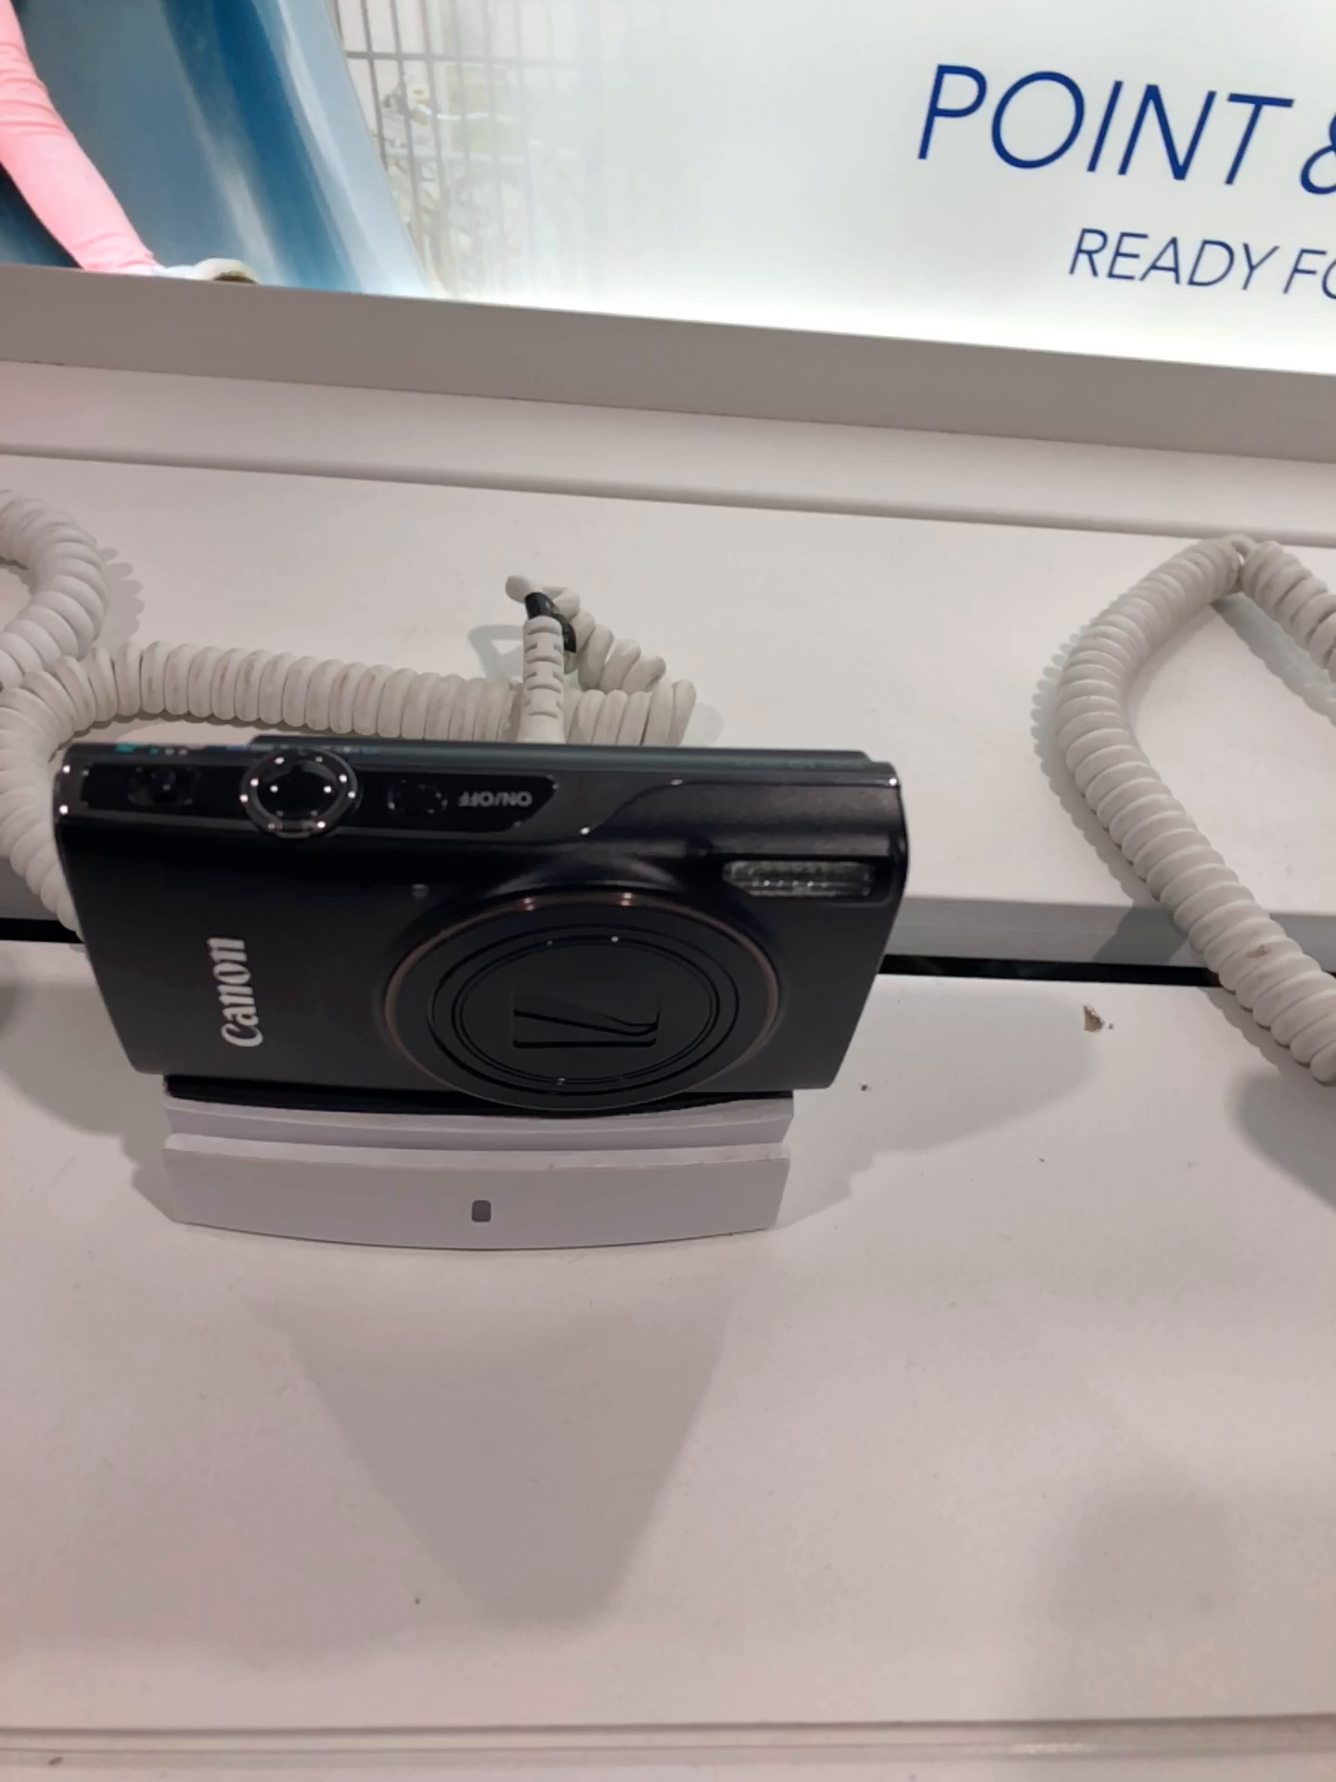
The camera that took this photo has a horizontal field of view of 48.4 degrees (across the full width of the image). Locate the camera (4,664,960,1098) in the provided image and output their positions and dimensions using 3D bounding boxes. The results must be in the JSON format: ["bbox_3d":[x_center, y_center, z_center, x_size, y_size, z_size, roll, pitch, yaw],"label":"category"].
[{"bbox_3d":[-0.024,0.001,0.206,0.113,0.057,0.026,1,47,-6],"label":"camera"}]
